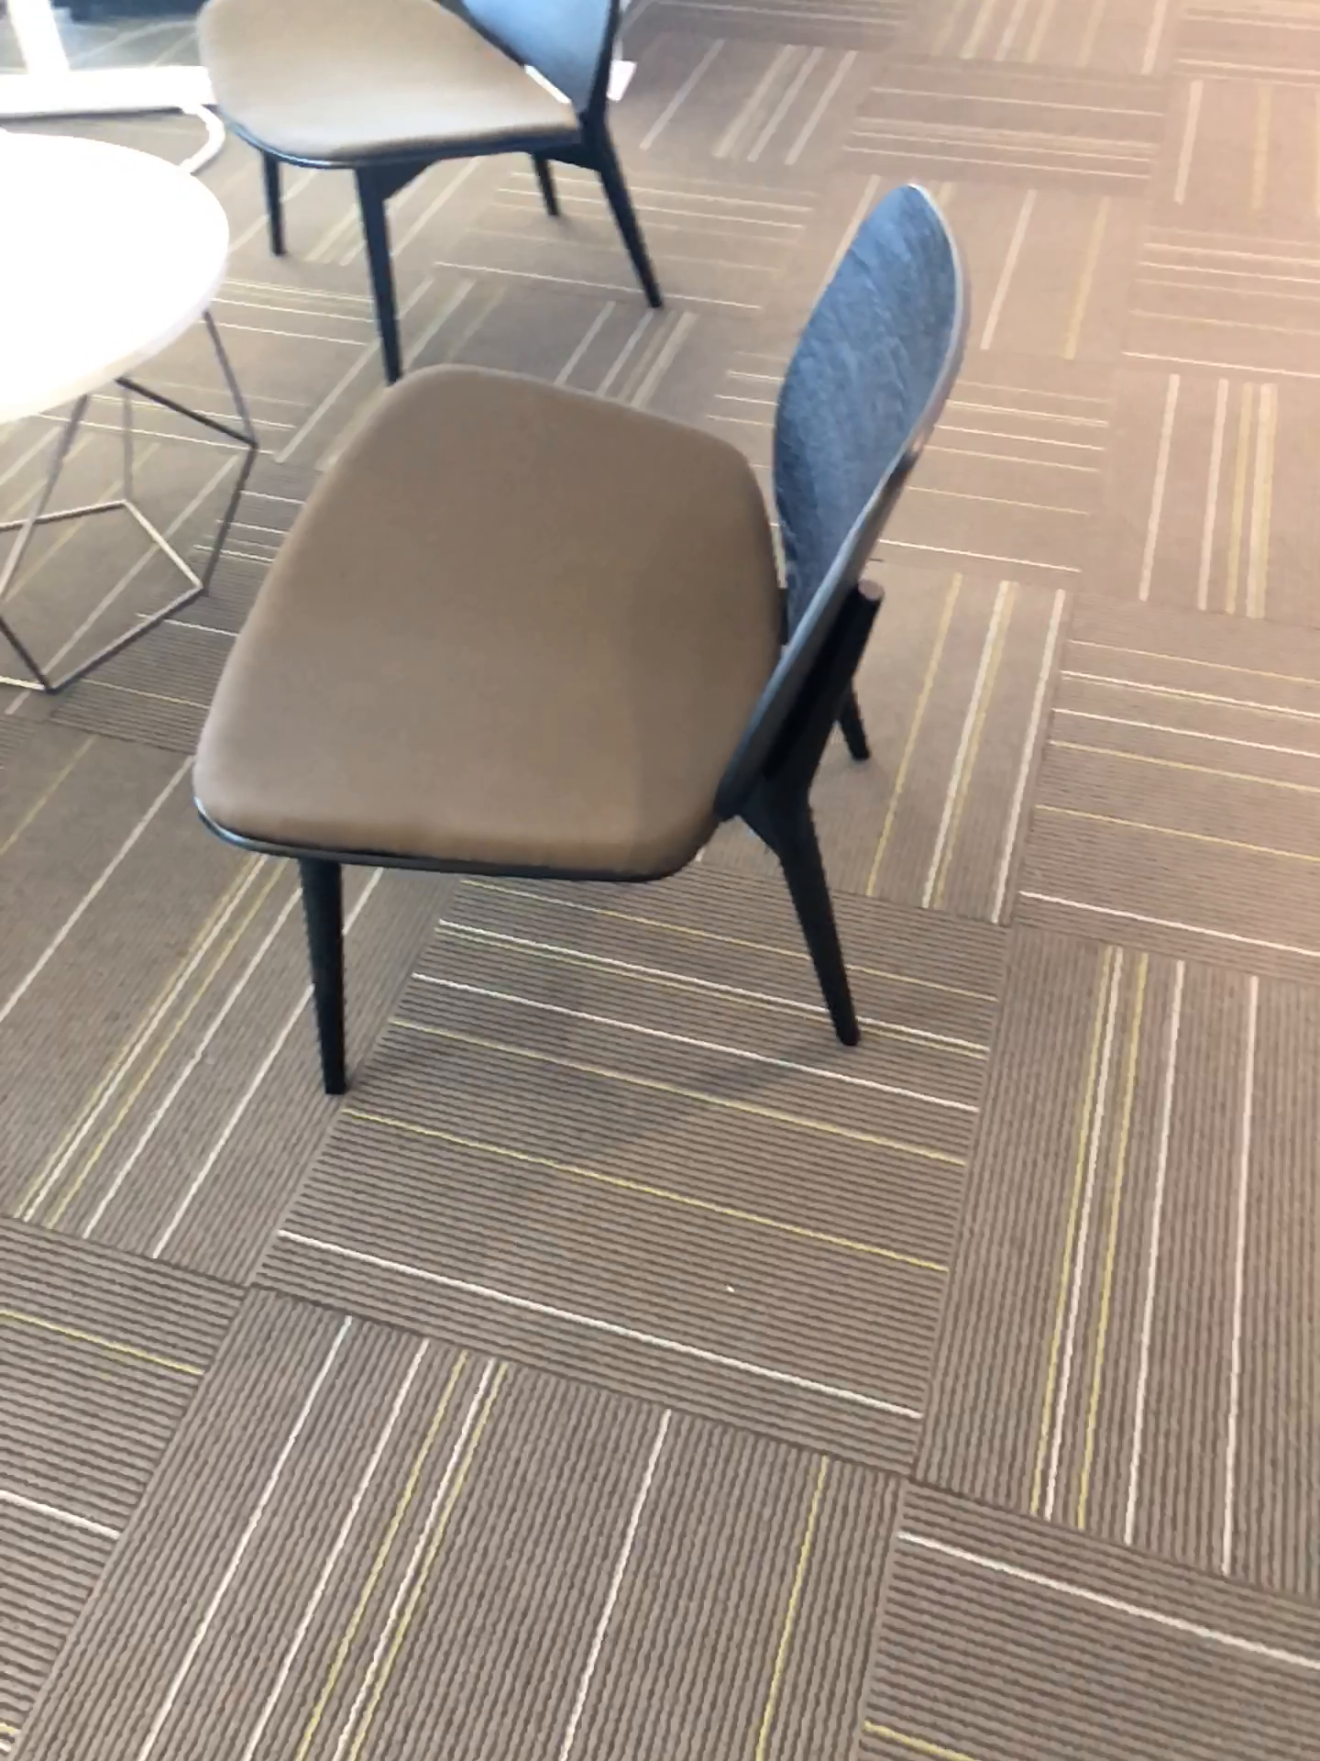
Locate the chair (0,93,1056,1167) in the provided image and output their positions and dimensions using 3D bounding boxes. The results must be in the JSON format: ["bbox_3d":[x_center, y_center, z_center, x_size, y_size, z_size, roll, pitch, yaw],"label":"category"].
[{"bbox_3d":[-0.094,-0.230,1.396,0.740,0.737,0.673,2,49,4],"label":"chair"}]
